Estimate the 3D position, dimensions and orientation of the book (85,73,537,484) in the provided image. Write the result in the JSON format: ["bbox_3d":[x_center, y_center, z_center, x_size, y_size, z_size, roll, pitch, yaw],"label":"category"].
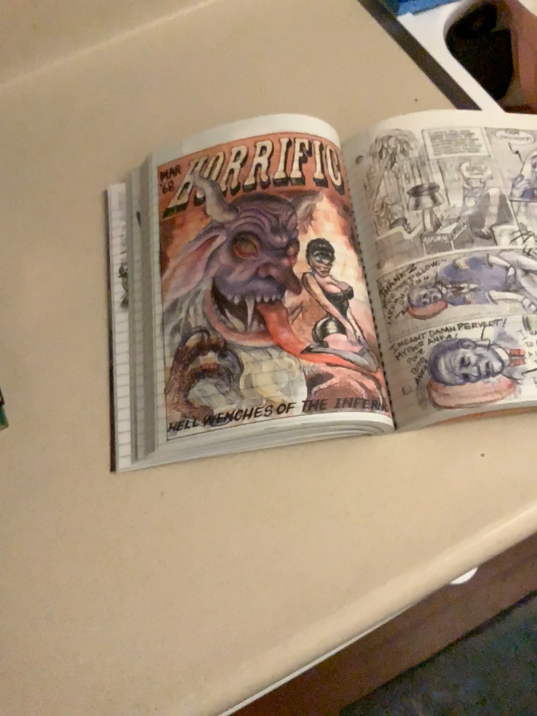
[{"bbox_3d":[0.078,-0.074,0.472,0.430,0.050,0.280,-8,66,1],"label":"book"}]
